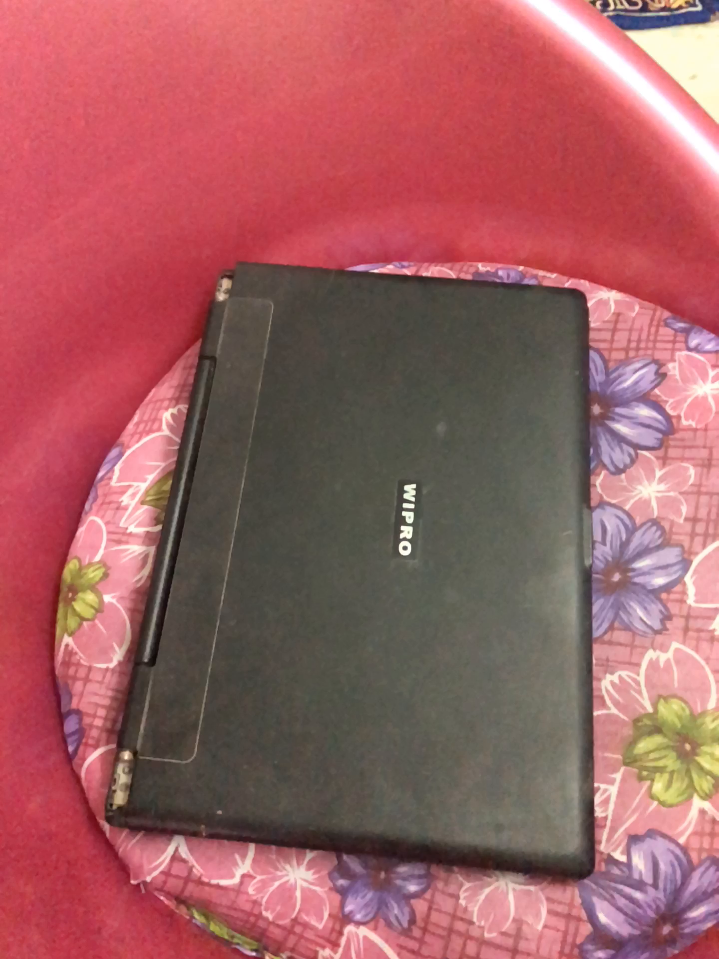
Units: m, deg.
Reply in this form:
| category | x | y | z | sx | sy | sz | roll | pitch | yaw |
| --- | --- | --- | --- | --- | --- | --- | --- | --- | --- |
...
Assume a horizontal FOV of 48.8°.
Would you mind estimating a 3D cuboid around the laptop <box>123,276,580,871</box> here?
| category | x | y | z | sx | sy | sz | roll | pitch | yaw |
| --- | --- | --- | --- | --- | --- | --- | --- | --- | --- |
| laptop | 0.012 | 0.028 | 0.445 | 0.220 | 0.006 | 0.322 | 5 | 67 | 4 |
